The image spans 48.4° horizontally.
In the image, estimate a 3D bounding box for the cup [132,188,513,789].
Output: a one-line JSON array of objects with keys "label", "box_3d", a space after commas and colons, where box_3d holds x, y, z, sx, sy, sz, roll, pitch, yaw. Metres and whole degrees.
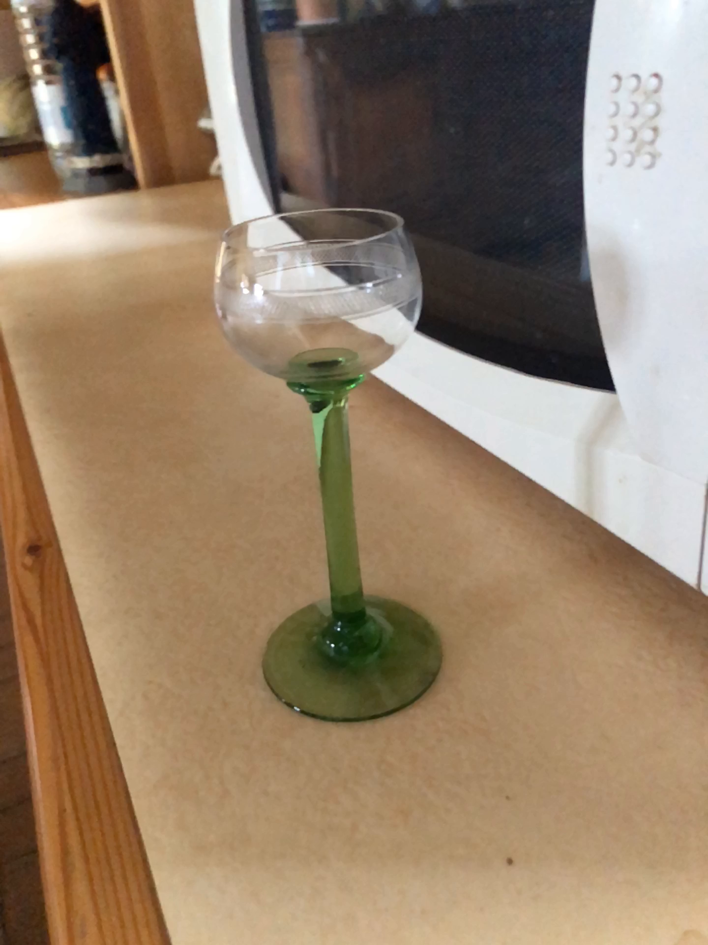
[{"label": "cup", "box_3d": [-0.003, 0.002, 0.203, 0.060, 0.129, 0.060, -4, 29, 2]}]
